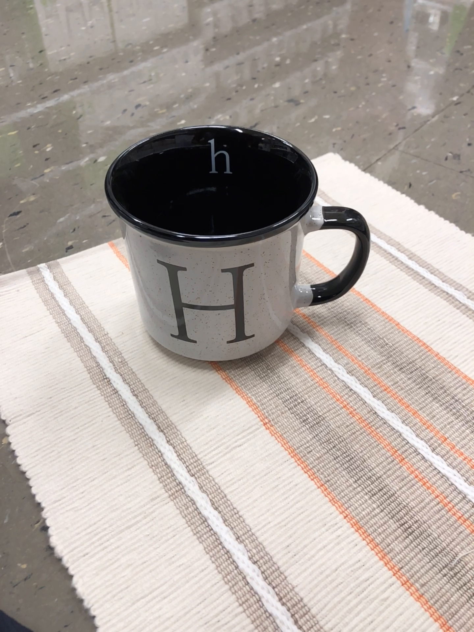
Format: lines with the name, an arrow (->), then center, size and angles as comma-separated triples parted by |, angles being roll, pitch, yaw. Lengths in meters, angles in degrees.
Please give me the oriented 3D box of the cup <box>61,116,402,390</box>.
cup -> 0.002, -0.036, 0.287 | 0.140, 0.100, 0.100 | 4, 45, 5
